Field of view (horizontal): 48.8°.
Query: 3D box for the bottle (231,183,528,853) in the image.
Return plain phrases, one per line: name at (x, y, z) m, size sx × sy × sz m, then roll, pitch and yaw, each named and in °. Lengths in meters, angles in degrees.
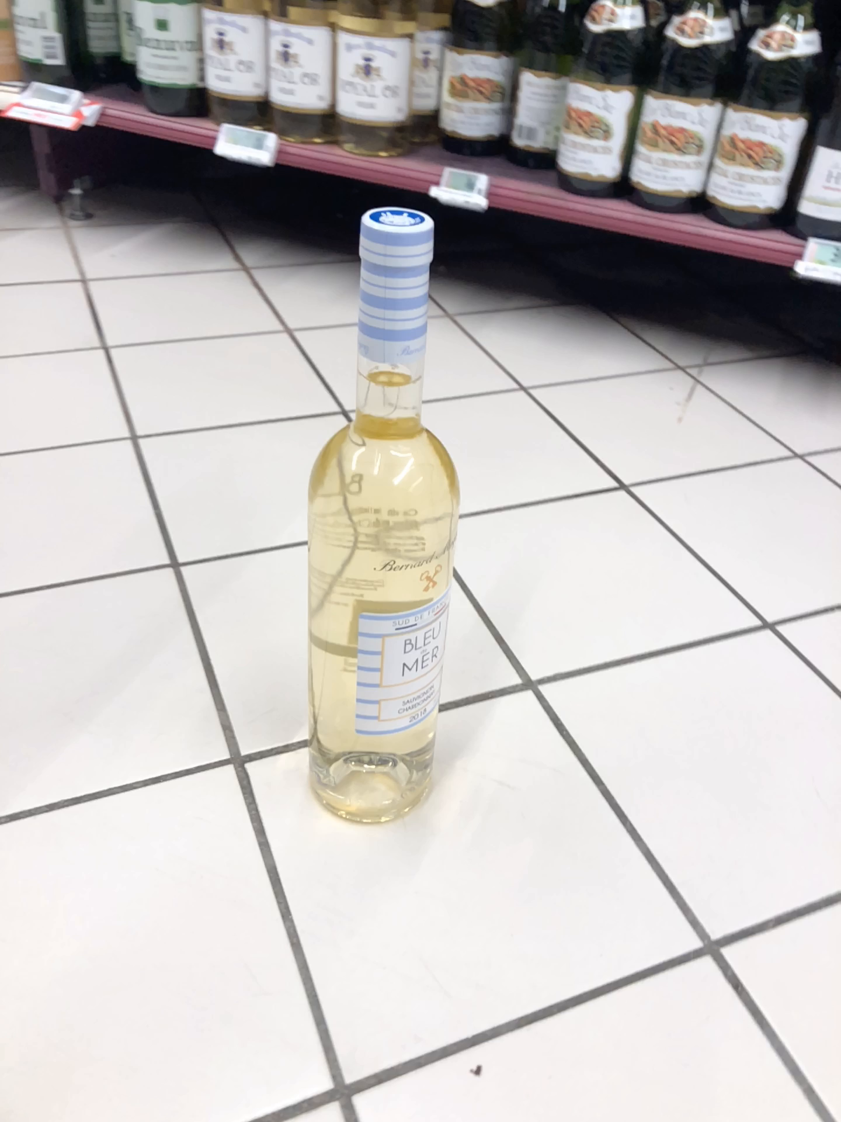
bottle at (-0.027, -0.004, 0.441) m, size 0.080 × 0.308 × 0.080 m, roll 3°, pitch 36°, yaw -2°
